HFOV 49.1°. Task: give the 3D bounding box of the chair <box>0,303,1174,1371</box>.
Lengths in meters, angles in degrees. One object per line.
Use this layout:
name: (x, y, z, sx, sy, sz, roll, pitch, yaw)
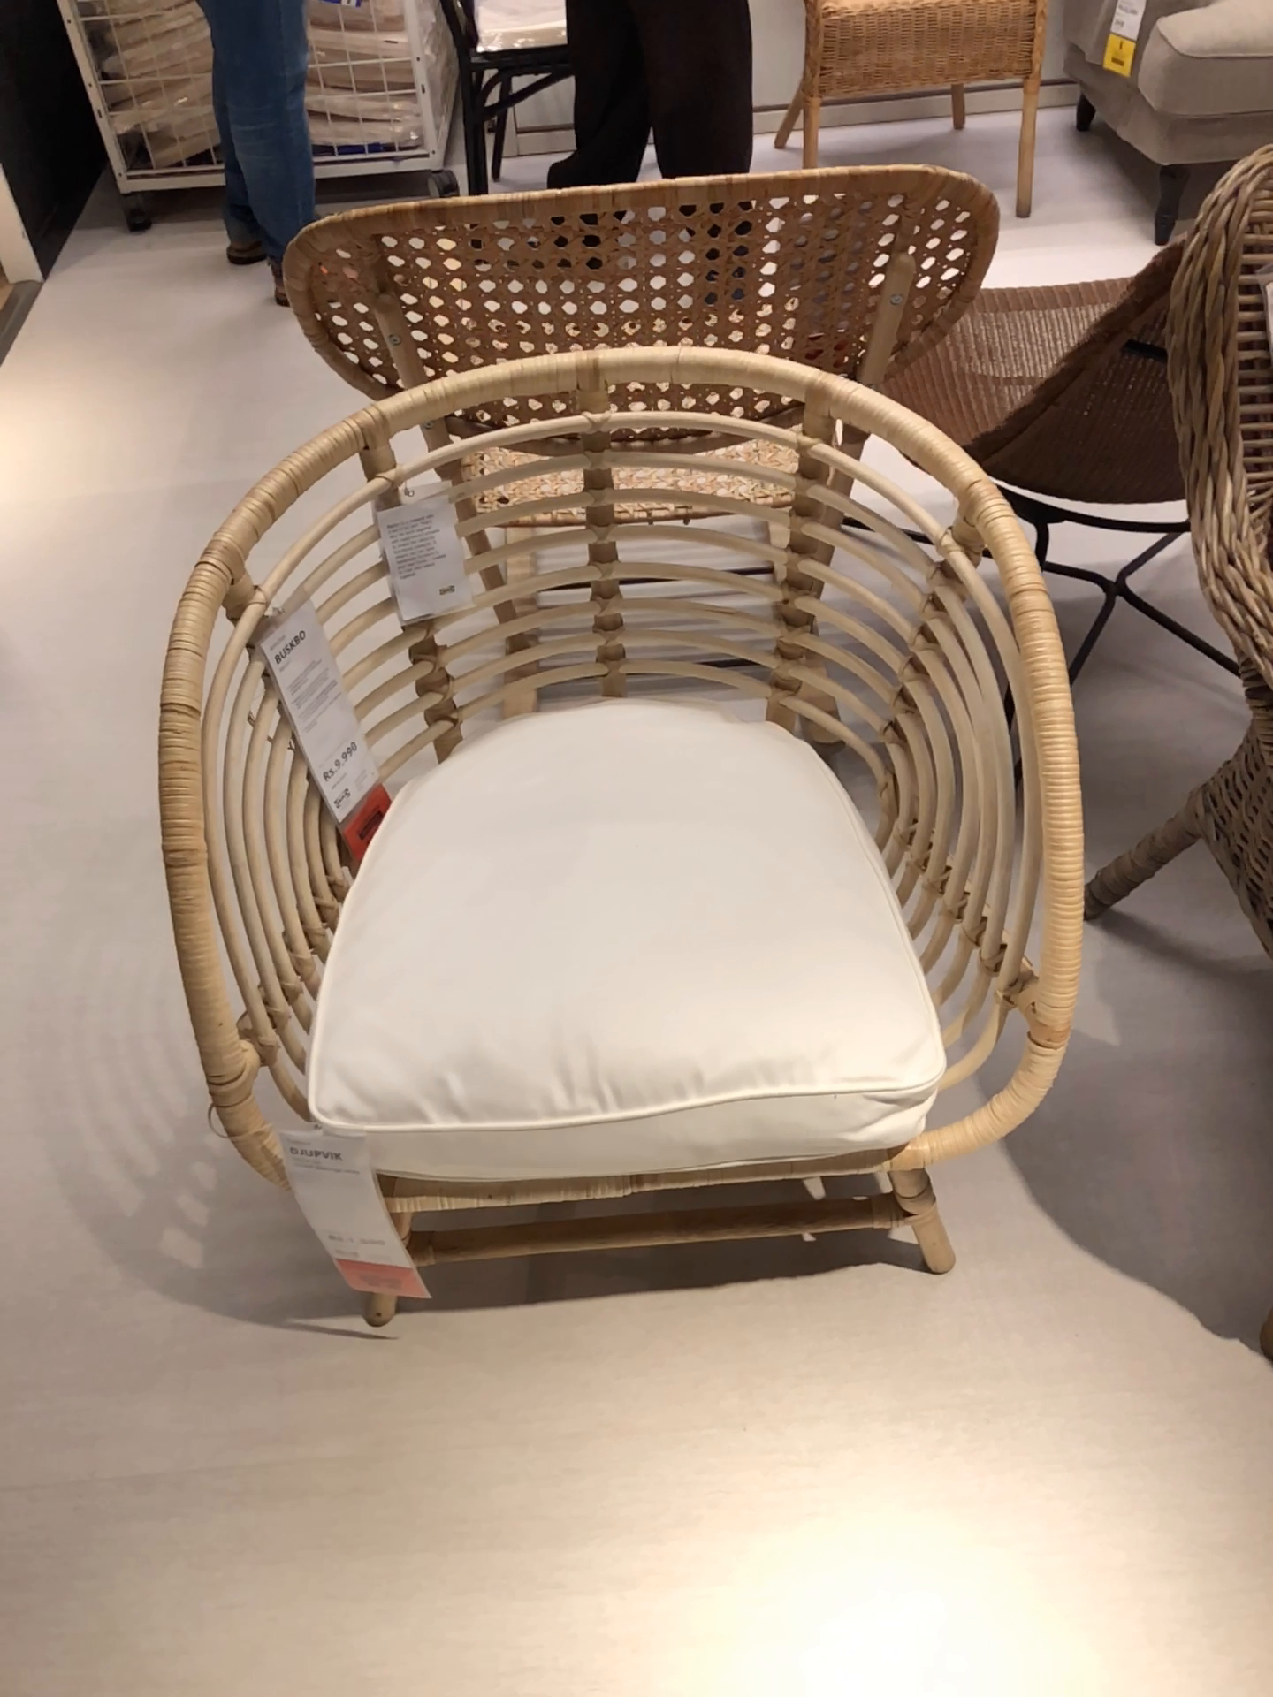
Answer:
chair: (-0.027, 0.005, 1.432, 0.780, 0.775, 0.705, -4, 46, 2)
